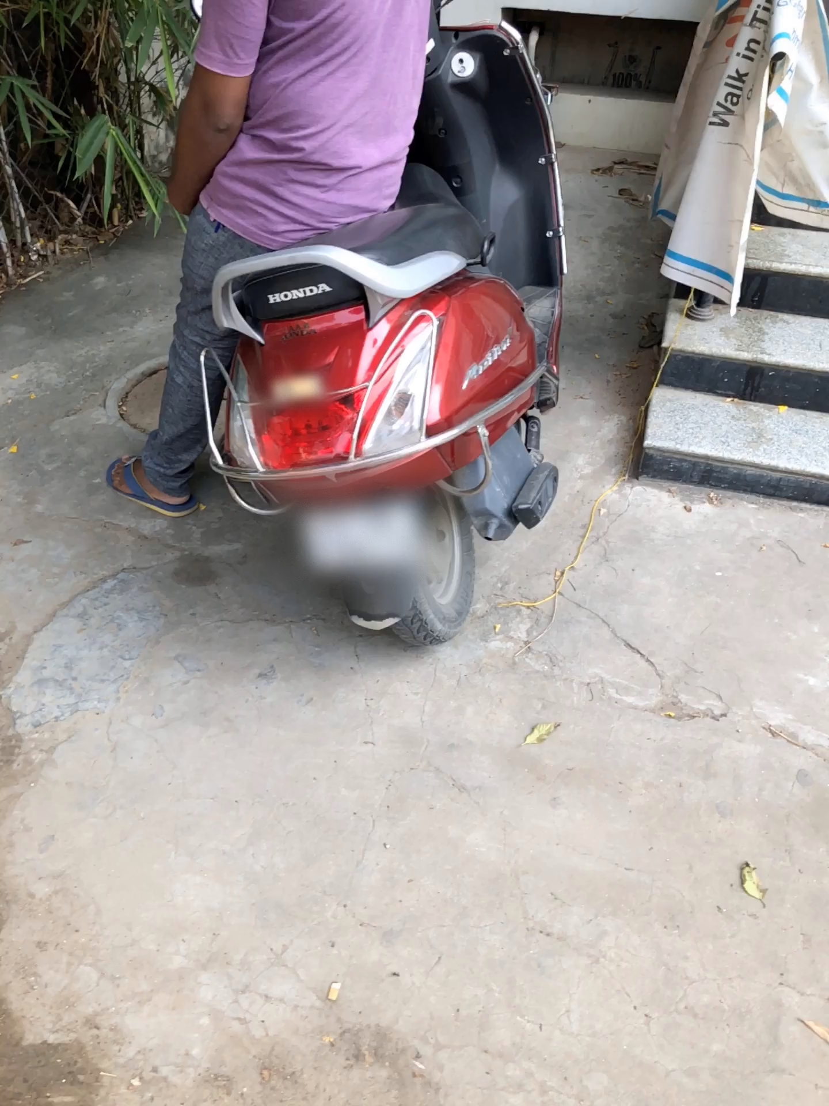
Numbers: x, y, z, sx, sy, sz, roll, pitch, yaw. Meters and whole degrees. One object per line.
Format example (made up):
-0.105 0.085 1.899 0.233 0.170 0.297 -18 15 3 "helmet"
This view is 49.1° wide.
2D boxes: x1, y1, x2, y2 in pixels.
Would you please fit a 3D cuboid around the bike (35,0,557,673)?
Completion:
-0.061 -0.712 1.883 0.571 1.056 1.488 5 40 5 "bike"
